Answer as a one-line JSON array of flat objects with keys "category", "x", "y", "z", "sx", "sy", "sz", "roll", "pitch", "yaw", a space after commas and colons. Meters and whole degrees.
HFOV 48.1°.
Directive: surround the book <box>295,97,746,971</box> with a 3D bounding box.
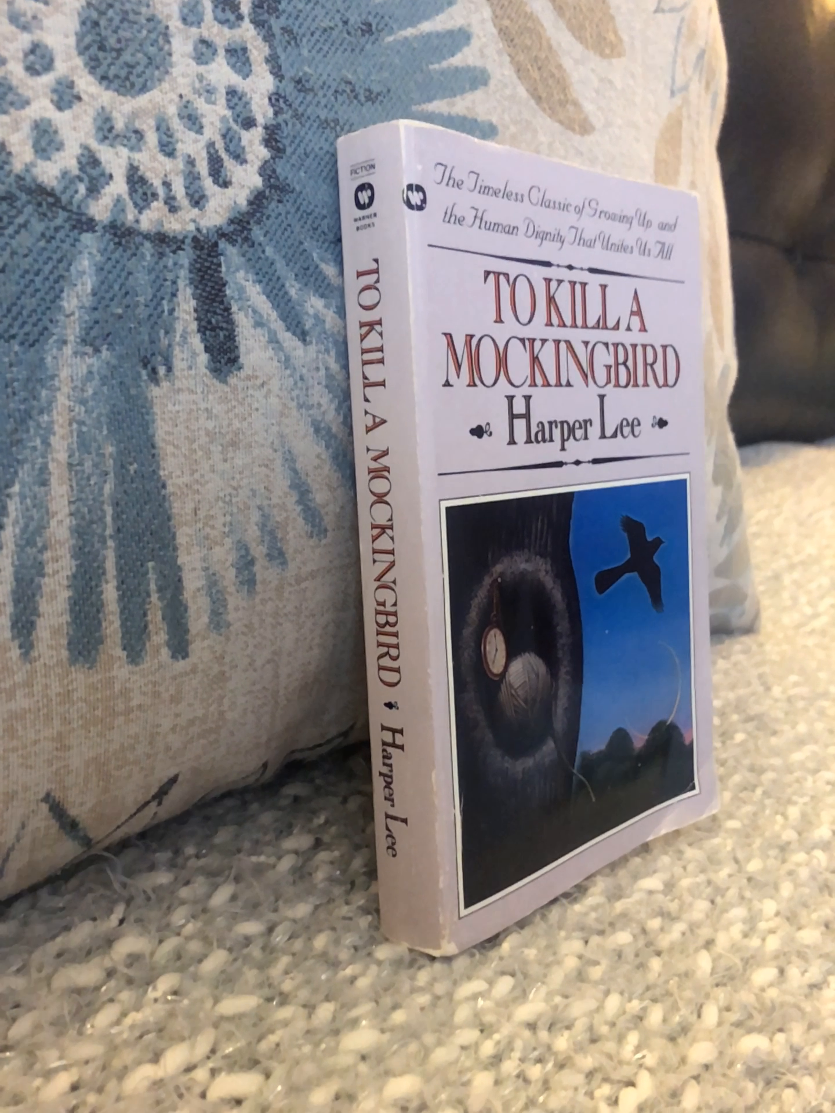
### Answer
[{"category": "book", "x": 0.033, "y": -0.008, "z": 0.226, "sx": 0.113, "sy": 0.166, "sz": 0.033, "roll": -8, "pitch": 8, "yaw": -41}]
